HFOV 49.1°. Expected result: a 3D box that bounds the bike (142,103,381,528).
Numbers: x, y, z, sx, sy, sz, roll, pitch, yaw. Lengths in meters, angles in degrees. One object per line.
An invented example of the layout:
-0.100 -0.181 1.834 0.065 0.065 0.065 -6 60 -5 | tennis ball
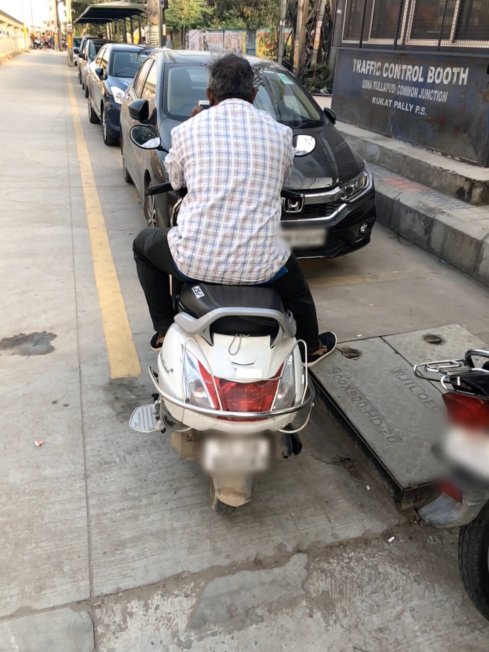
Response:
-0.021 -0.226 2.244 0.640 0.858 1.610 -1 36 -6 | bike
